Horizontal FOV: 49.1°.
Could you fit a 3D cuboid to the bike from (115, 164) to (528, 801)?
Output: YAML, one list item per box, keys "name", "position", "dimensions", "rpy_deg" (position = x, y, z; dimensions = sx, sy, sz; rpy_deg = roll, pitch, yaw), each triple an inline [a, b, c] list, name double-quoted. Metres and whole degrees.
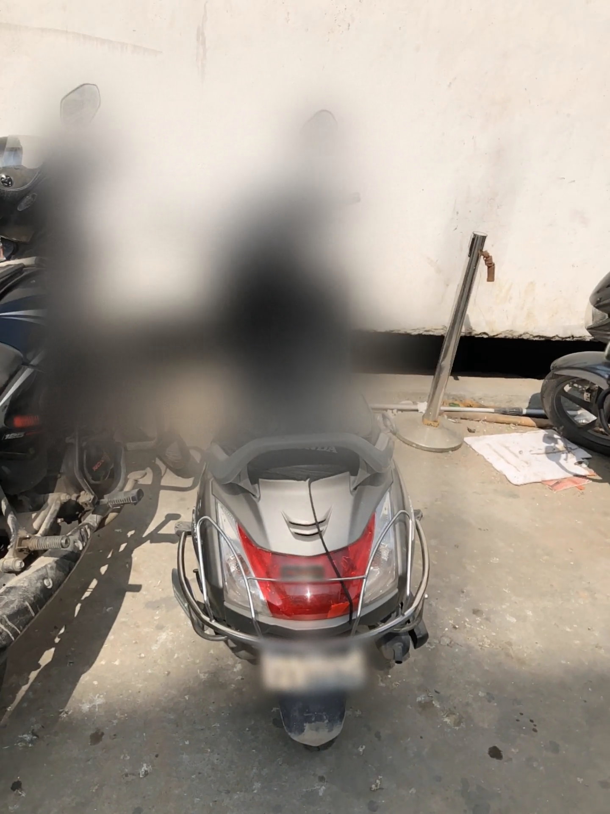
- name: "bike"
  position: [-0.062, 0.008, 1.891]
  dimensions: [0.616, 1.108, 1.506]
  rpy_deg: [5, 25, -6]
